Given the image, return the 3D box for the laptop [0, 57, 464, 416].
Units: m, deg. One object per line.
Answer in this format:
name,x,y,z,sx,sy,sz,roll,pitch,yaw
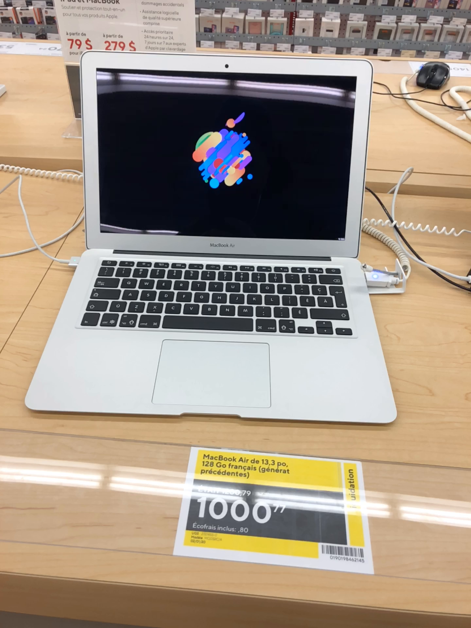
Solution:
laptop,-0.015,-0.093,0.492,0.305,0.186,0.326,2,41,-1
